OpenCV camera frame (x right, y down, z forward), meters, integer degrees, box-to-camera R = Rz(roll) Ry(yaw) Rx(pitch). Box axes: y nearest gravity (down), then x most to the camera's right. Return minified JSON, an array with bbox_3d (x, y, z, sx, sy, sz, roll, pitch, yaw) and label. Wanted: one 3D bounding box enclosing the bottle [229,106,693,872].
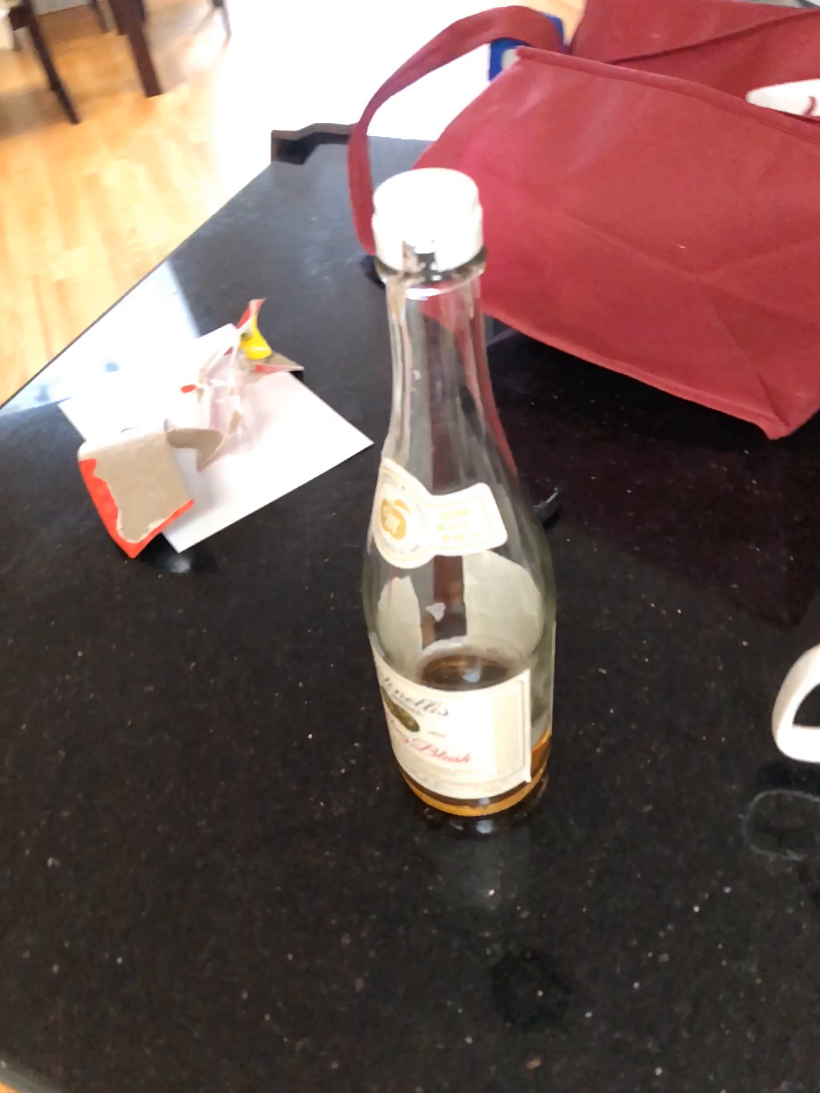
[{"bbox_3d":[0.027,0.009,0.387,0.101,0.330,0.093,-3,48,4],"label":"bottle"}]
